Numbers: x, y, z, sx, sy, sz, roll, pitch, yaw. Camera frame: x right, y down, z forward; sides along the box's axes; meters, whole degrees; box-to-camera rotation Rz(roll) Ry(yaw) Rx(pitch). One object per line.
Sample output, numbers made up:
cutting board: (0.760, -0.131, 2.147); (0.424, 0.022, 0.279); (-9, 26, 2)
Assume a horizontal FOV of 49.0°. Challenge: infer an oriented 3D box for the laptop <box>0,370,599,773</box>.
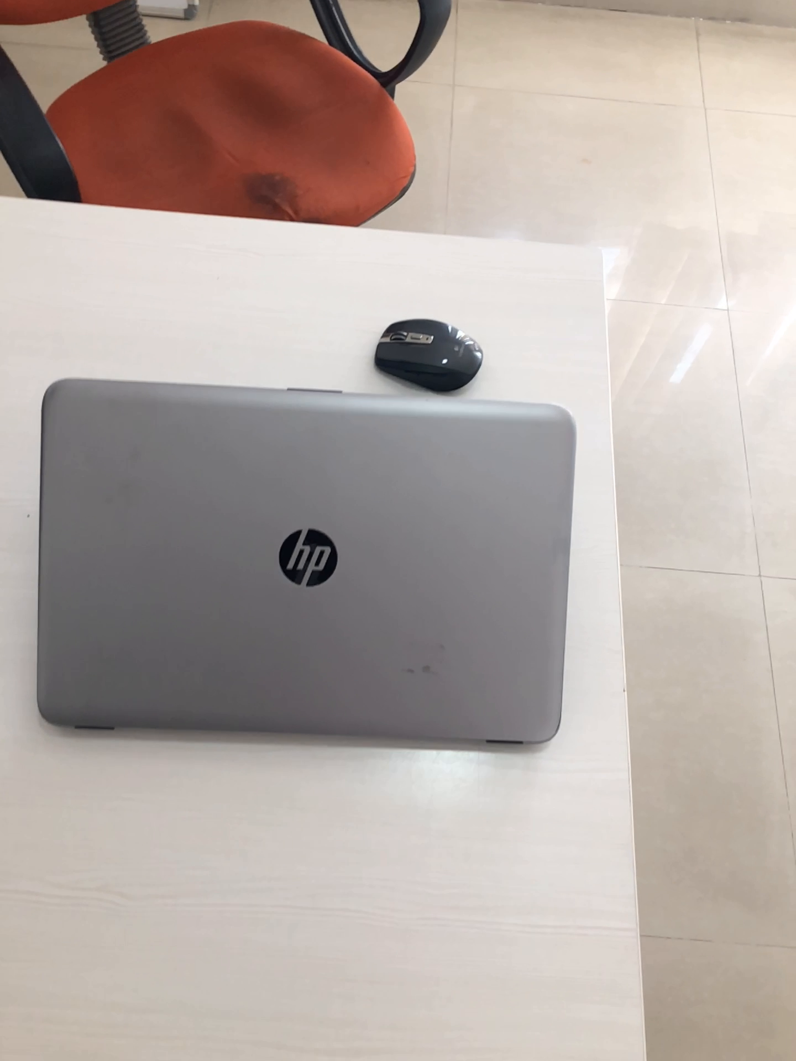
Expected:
laptop: (-0.063, 0.031, 0.639); (0.369, 0.120, 0.252); (2, 66, -1)
